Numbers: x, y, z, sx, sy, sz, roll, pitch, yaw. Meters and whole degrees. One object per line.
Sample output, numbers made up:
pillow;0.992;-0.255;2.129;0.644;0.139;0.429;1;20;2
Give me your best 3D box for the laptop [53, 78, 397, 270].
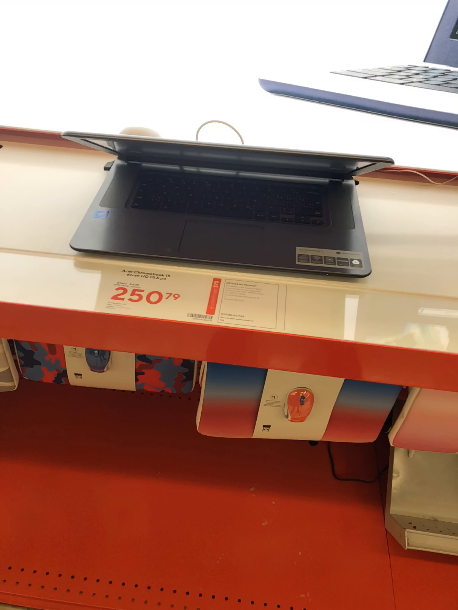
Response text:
laptop;0.000;-0.182;0.657;0.363;0.122;0.238;5;41;2
